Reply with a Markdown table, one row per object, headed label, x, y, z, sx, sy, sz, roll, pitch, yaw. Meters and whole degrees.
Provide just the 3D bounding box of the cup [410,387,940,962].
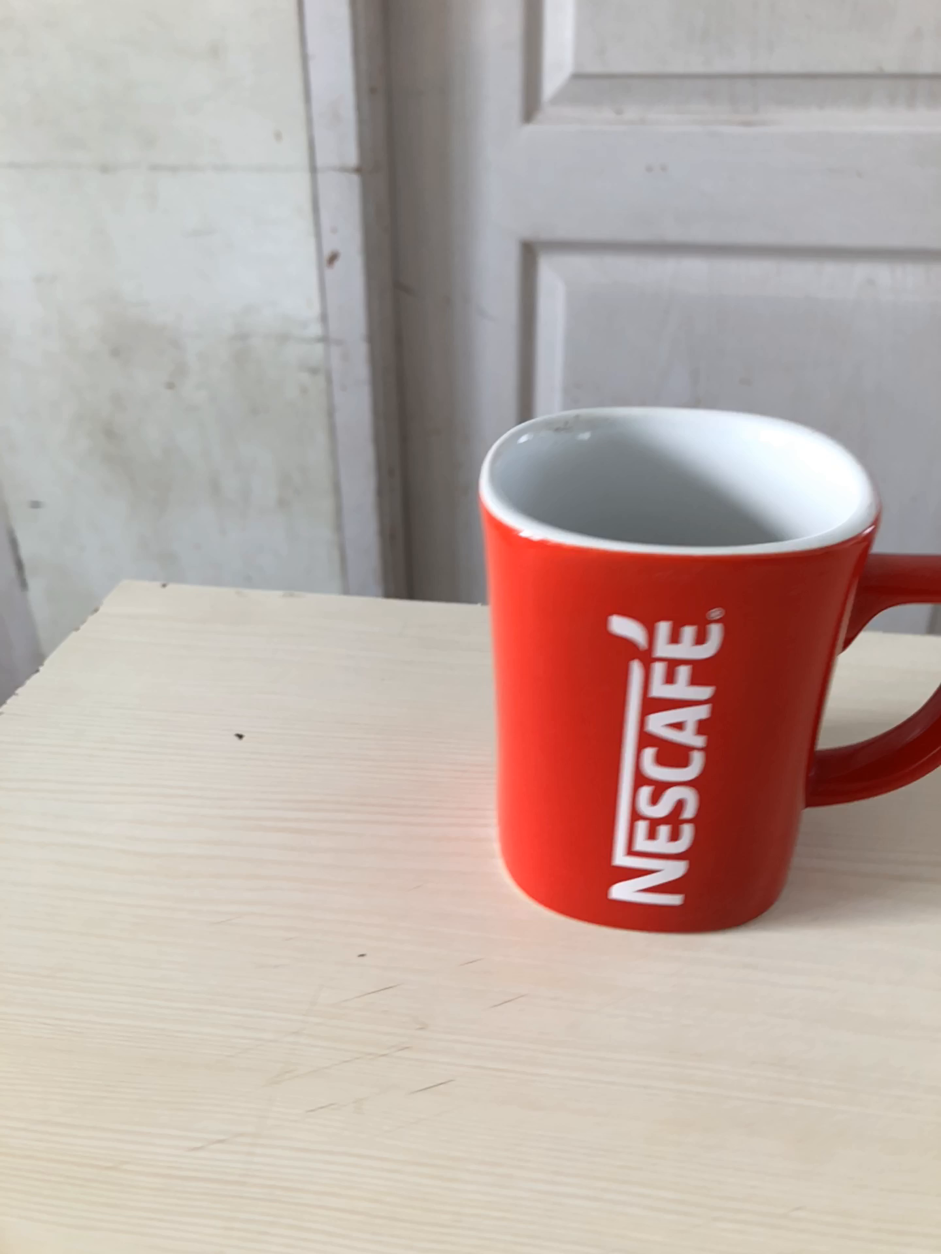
| label | x | y | z | sx | sy | sz | roll | pitch | yaw |
| --- | --- | --- | --- | --- | --- | --- | --- | --- | --- |
| cup | 0.049 | 0.005 | 0.225 | 0.110 | 0.089 | 0.081 | 2 | 30 | 5 |
